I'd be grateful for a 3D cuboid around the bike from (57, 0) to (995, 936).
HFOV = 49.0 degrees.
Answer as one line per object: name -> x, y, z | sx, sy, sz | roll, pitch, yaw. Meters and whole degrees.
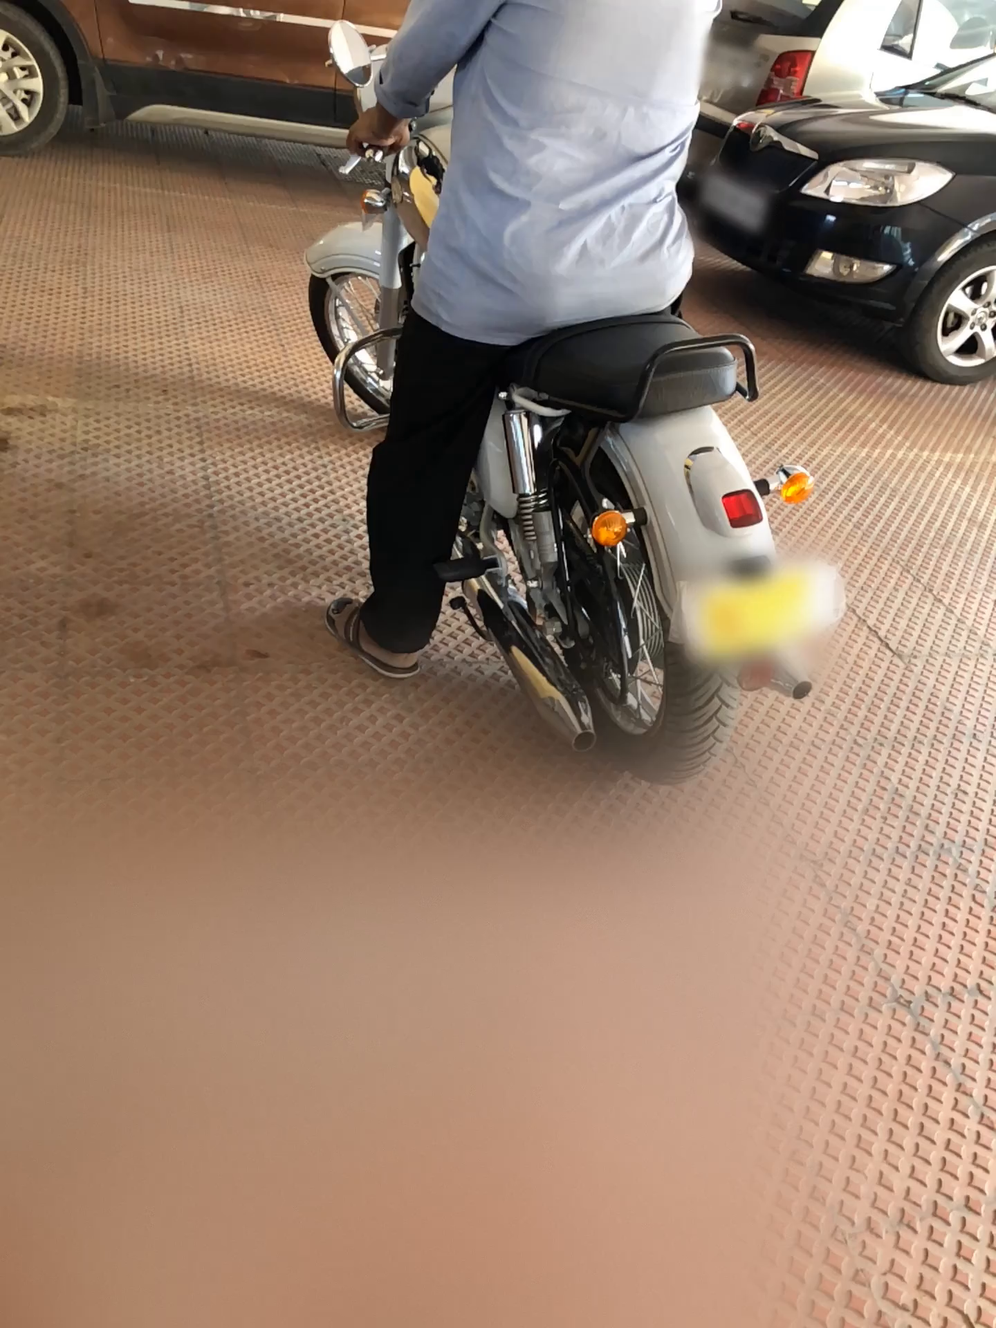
bike -> -0.197, -0.686, 2.077 | 0.846, 1.233, 1.905 | -7, 38, -27
